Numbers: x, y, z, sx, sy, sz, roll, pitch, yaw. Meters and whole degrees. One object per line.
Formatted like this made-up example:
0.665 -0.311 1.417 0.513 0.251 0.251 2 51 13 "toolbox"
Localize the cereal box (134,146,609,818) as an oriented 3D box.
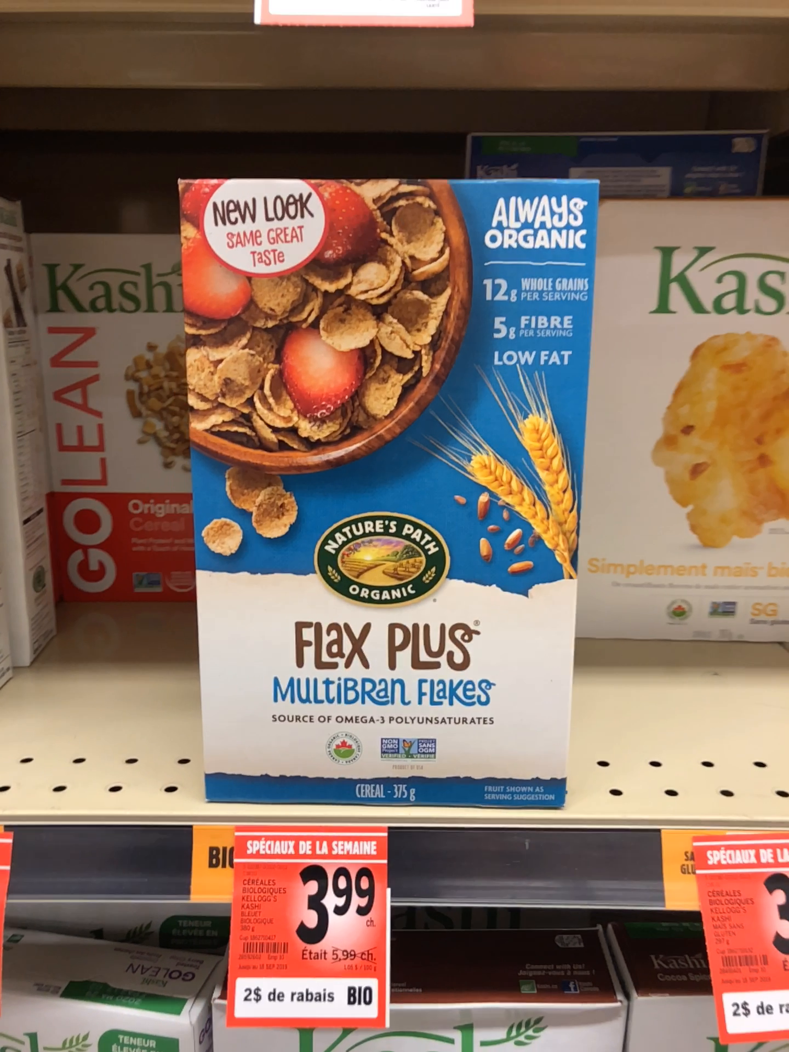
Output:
-0.008 -0.015 0.379 0.170 0.269 0.070 1 15 2 "cereal box"
